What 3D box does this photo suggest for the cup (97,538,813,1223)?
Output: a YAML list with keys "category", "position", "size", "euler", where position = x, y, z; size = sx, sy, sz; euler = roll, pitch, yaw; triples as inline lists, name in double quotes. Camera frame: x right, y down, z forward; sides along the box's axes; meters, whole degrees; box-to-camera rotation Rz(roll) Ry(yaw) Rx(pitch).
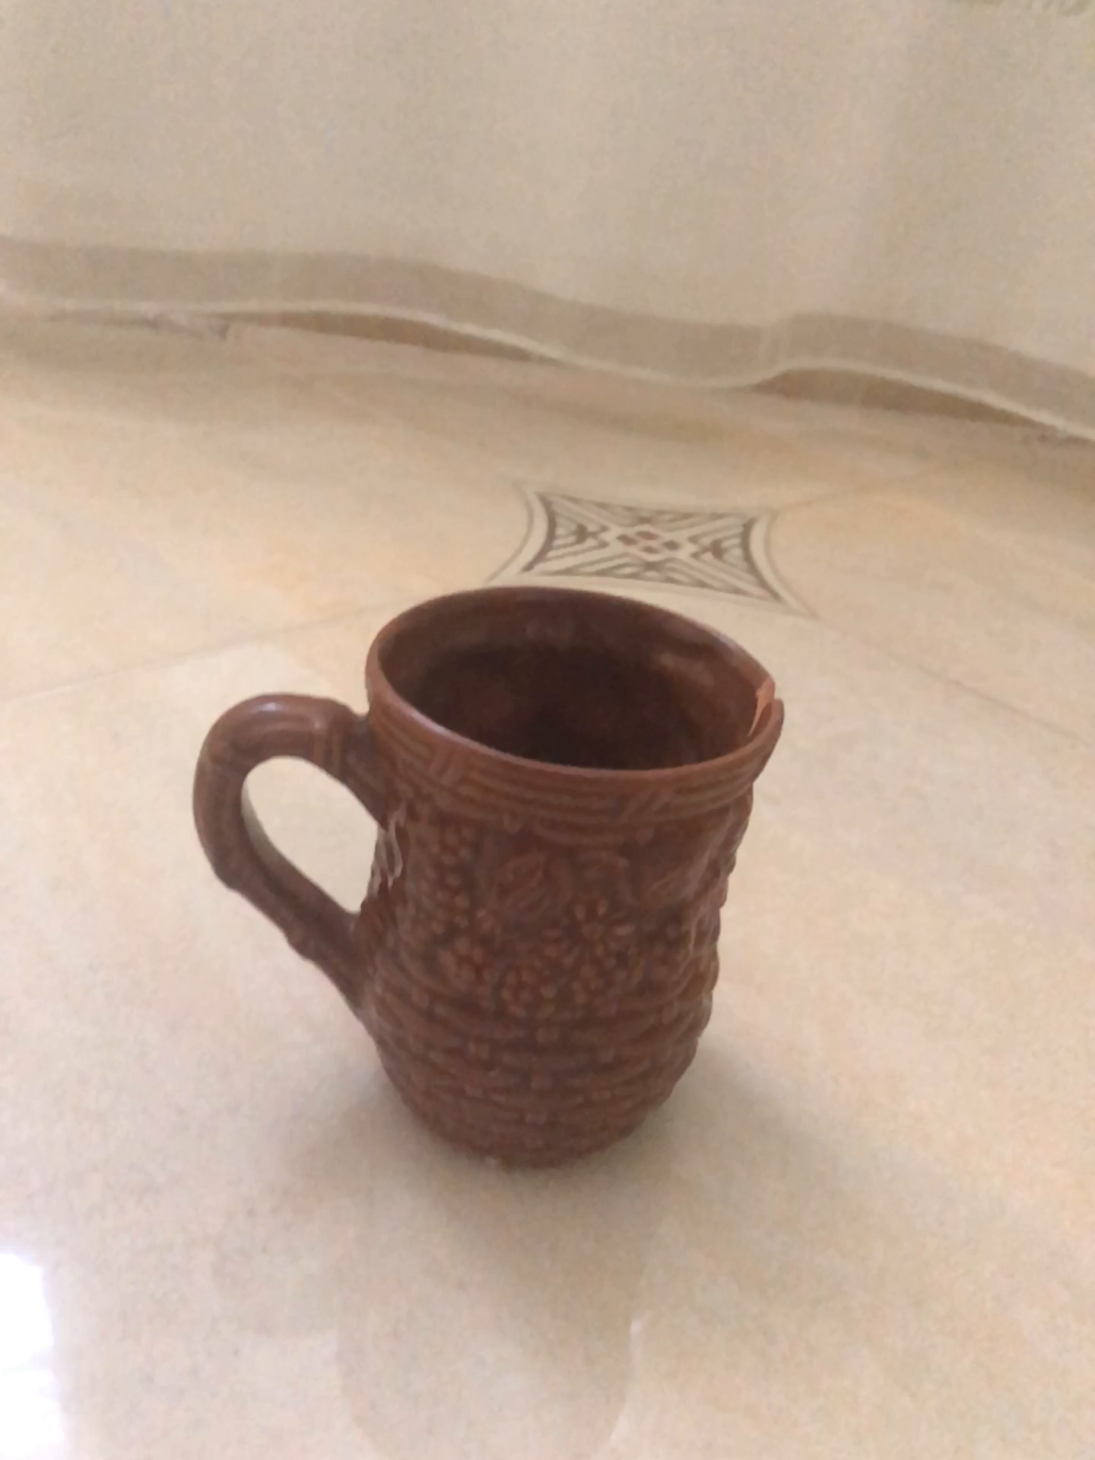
- category: "cup"
  position: [-0.014, 0.023, 0.225]
  size: [0.104, 0.081, 0.073]
  euler: [10, 29, 4]
